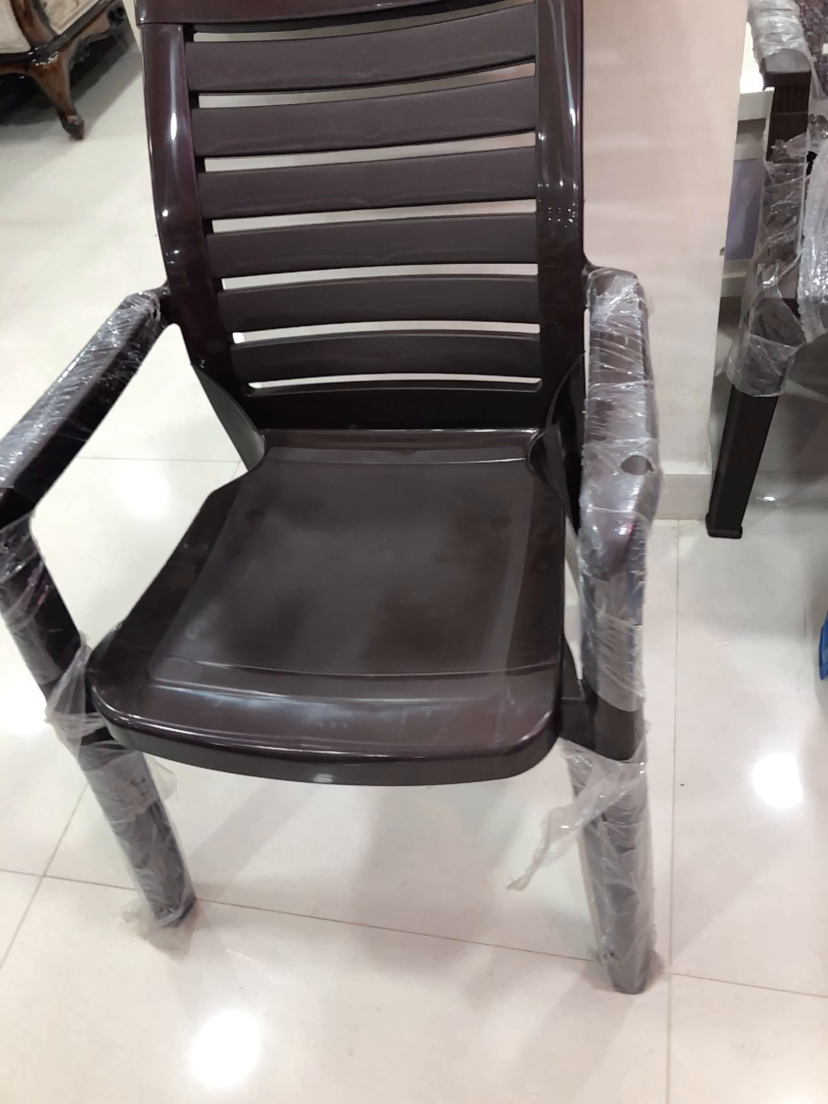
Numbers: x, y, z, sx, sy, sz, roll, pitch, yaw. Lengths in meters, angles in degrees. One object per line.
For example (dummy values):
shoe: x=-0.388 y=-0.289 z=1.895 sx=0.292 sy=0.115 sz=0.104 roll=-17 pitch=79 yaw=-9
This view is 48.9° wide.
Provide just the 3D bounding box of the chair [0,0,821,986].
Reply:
chair: x=-0.032 y=-0.111 z=0.962 sx=0.640 sy=1.004 sz=0.674 roll=2 pitch=48 yaw=14
